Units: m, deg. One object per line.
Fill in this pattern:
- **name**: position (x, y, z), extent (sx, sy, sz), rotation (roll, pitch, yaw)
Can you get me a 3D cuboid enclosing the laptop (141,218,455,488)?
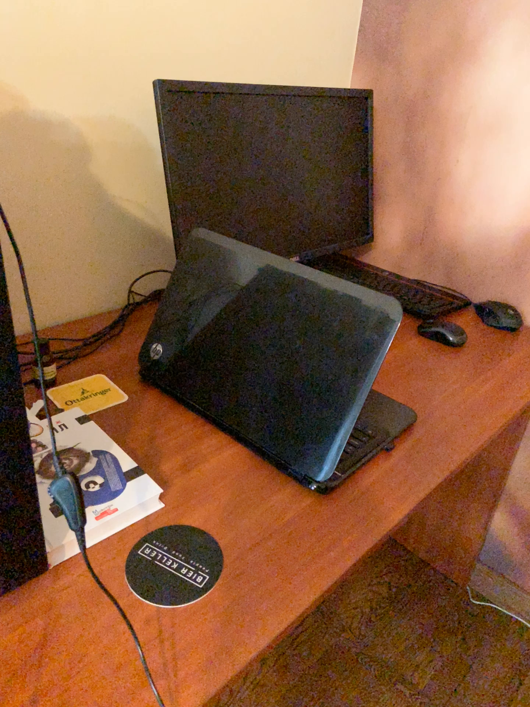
- **laptop**: position (0.028, -0.033, 0.746), extent (0.349, 0.198, 0.223), rotation (27, 35, 34)
